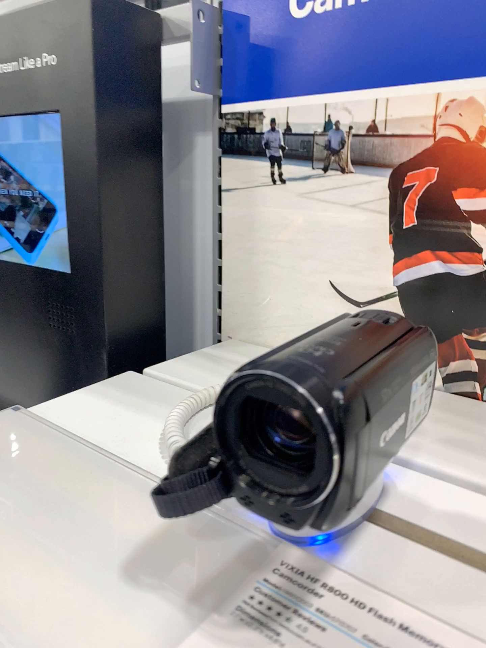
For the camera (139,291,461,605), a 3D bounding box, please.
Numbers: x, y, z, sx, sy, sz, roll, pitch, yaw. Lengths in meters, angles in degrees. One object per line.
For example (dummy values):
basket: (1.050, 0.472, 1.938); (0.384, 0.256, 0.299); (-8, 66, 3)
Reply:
camera: (0.034, 0.033, 0.216); (0.072, 0.062, 0.140); (13, 20, 35)
